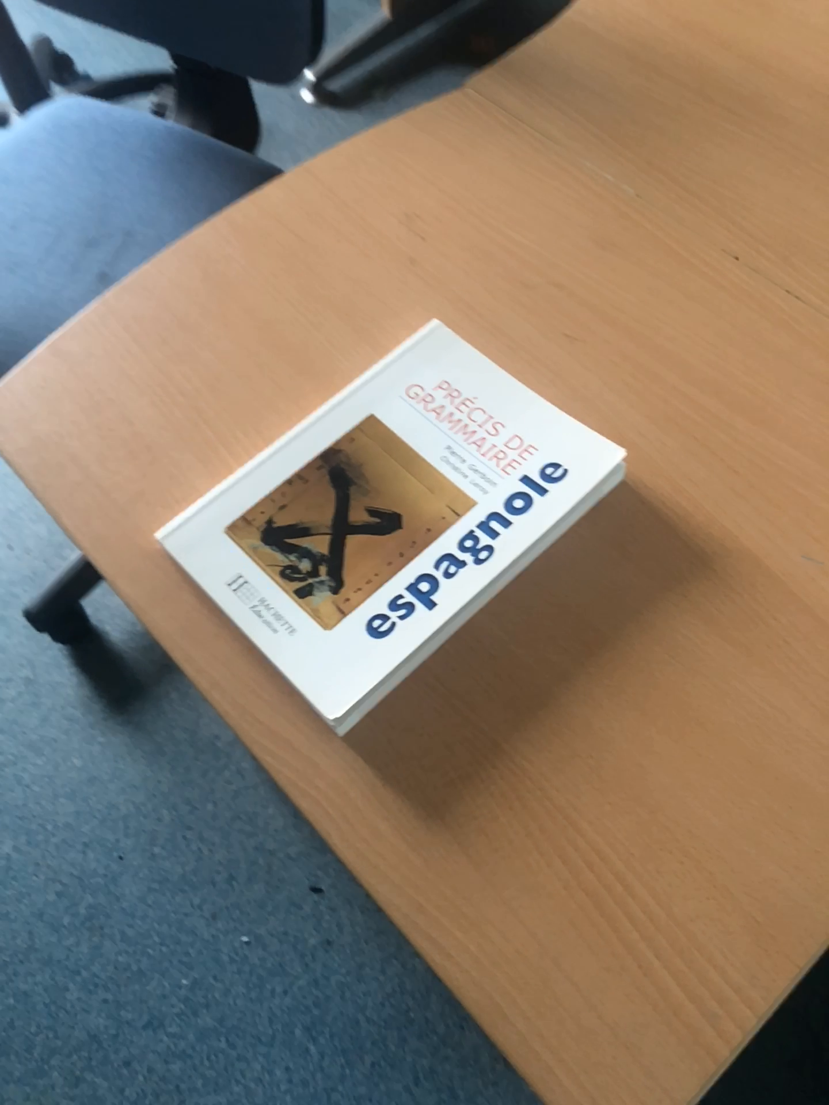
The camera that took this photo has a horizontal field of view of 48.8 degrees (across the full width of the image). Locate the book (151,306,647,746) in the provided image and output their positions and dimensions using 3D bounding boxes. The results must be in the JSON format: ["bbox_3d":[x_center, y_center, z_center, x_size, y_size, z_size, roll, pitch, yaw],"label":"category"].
[{"bbox_3d":[-0.009,-0.031,0.554,0.241,0.020,0.180,-41,65,-17],"label":"book"}]
